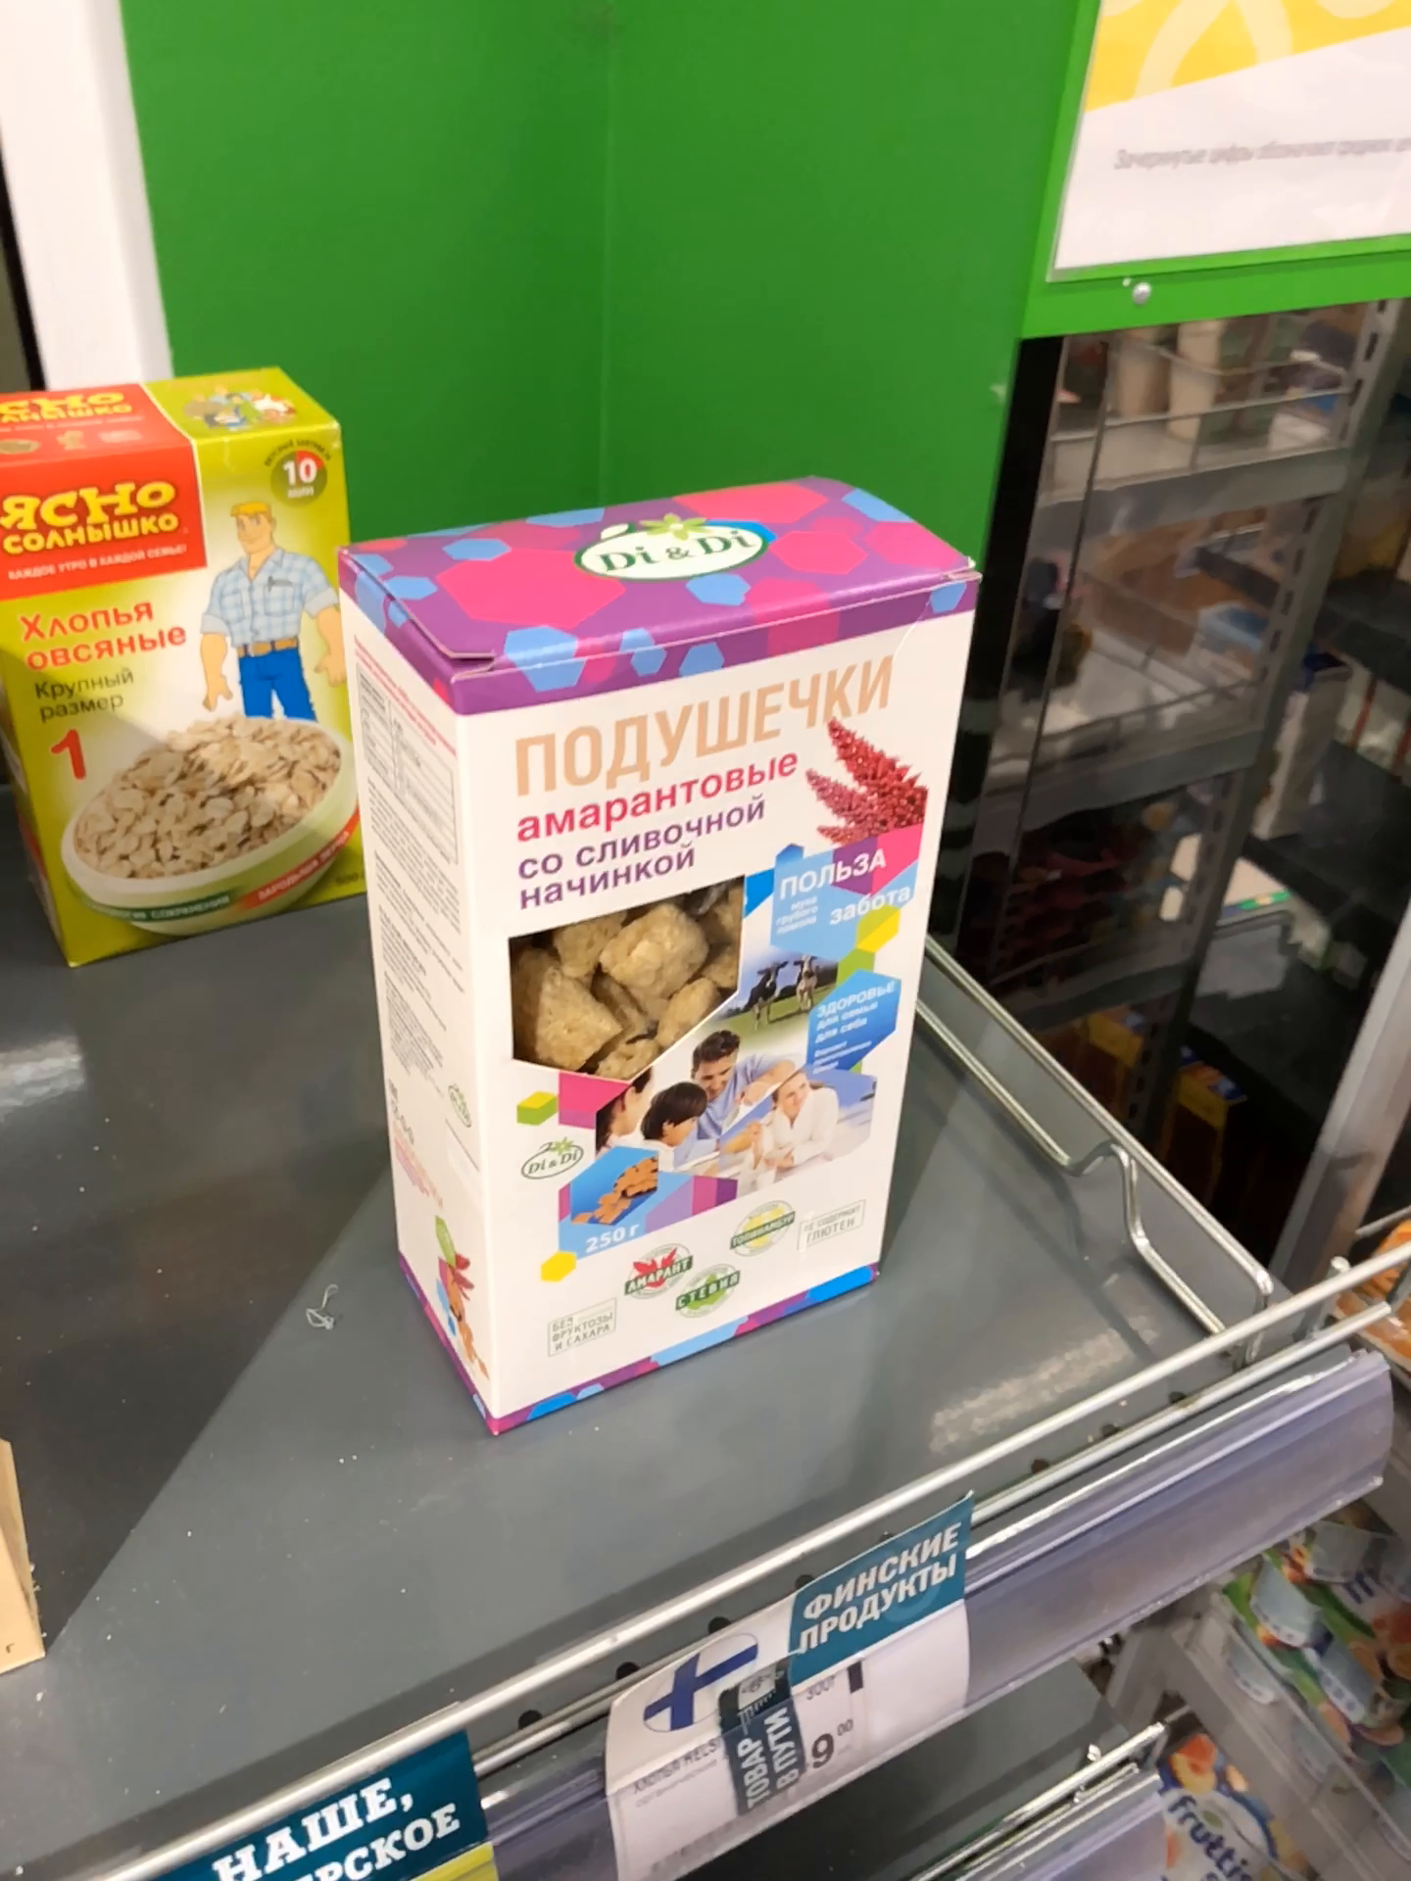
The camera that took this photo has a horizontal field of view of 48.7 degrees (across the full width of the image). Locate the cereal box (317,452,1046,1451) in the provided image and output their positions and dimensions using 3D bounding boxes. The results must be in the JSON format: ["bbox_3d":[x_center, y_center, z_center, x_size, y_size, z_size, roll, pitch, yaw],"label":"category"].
[{"bbox_3d":[-0.011,0.006,0.411,0.140,0.229,0.080,-16,40,-25],"label":"cereal box"}]
